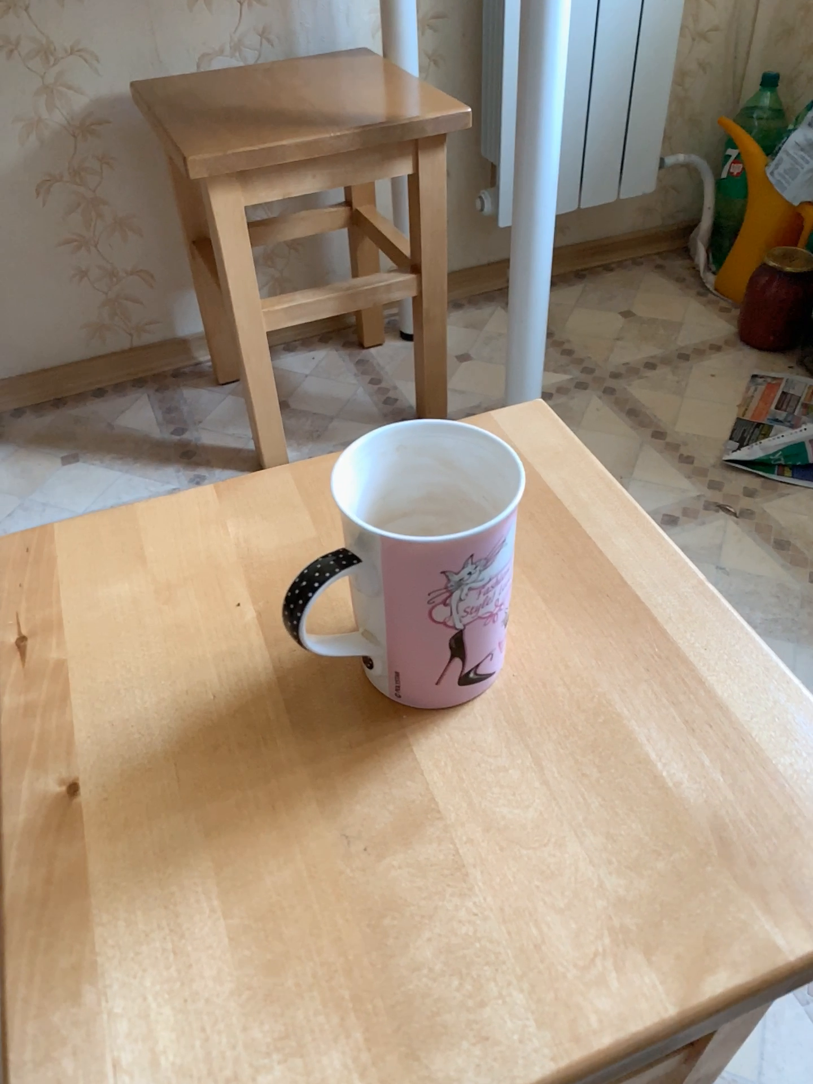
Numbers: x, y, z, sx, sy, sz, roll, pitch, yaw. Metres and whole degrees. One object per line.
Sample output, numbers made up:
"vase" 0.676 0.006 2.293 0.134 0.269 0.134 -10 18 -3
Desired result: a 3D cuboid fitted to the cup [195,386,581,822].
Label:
"cup" -0.002 0.020 0.333 0.080 0.099 0.121 28 51 29
